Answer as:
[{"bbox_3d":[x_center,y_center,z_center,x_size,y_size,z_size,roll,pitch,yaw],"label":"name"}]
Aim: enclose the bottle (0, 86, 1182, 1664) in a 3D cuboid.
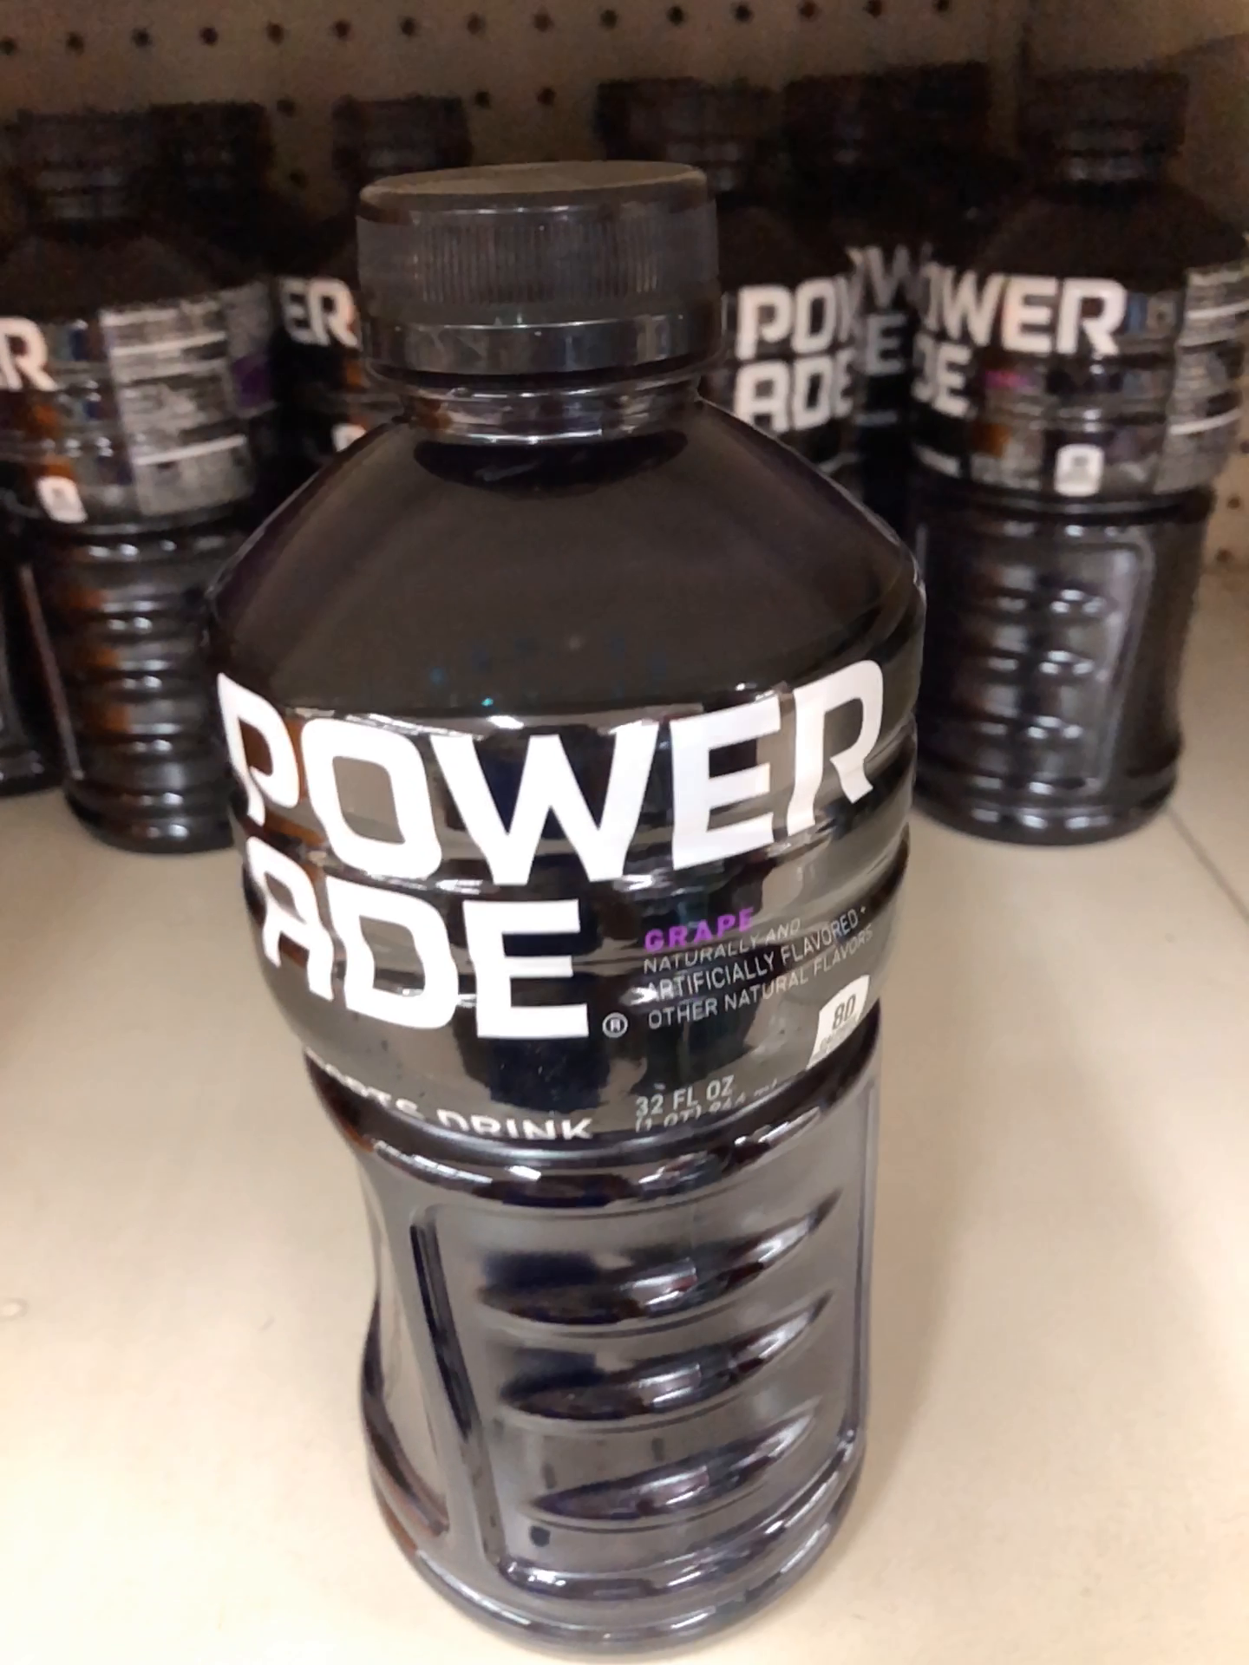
[{"bbox_3d":[-0.006,0.018,0.196,0.098,0.209,0.090,-1,30,1],"label":"bottle"}]
